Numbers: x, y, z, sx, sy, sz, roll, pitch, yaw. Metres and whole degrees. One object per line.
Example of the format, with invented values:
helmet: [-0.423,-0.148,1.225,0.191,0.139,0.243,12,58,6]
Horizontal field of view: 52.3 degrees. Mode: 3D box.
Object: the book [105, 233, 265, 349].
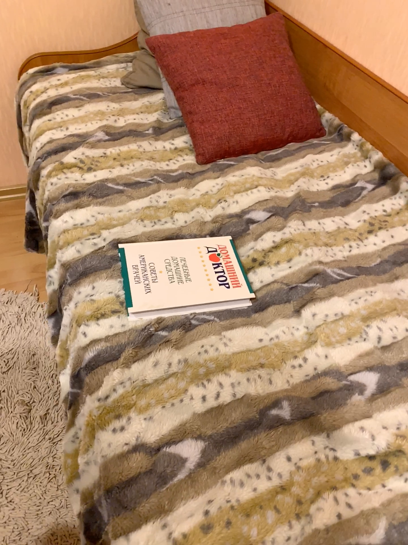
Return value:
book: [-0.041,0.022,0.722,0.240,0.040,0.191,-7,49,-12]
